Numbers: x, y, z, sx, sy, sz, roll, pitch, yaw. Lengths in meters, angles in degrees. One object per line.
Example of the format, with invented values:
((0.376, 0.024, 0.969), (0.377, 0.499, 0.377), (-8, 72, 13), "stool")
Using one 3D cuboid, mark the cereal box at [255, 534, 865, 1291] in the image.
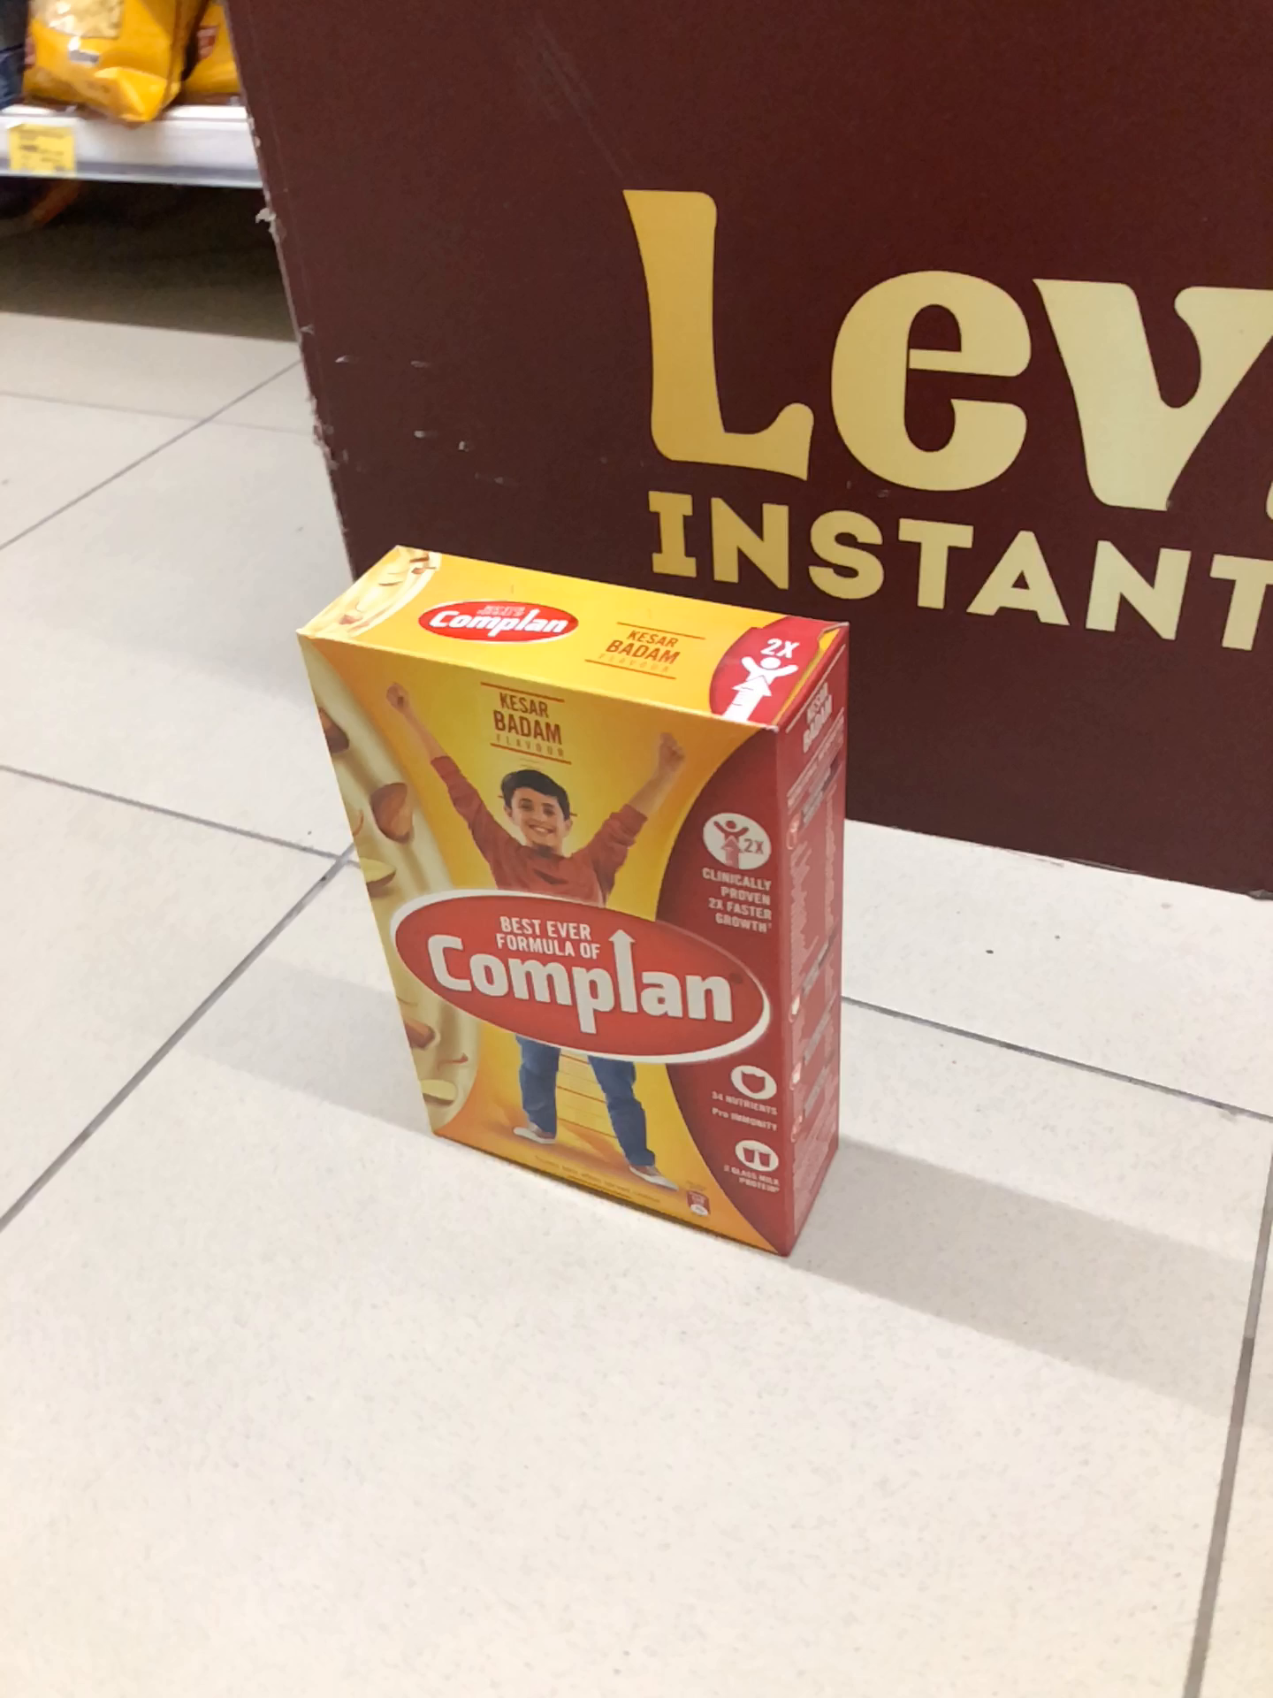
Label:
((-0.013, 0.025, 0.437), (0.150, 0.219, 0.060), (13, 43, 22), "cereal box")
